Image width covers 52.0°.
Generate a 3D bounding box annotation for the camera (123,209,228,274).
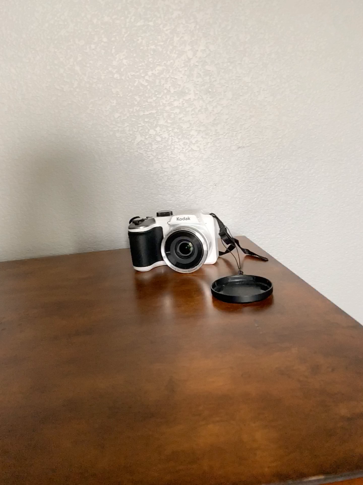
[{"bbox_3d":[-0.006,-0.003,0.504,0.119,0.071,0.070,-1,12,22],"label":"camera"}]
